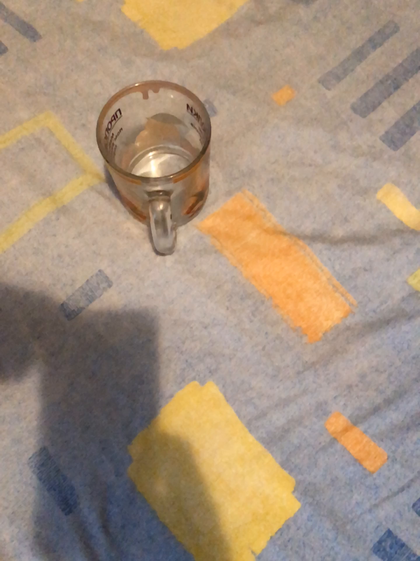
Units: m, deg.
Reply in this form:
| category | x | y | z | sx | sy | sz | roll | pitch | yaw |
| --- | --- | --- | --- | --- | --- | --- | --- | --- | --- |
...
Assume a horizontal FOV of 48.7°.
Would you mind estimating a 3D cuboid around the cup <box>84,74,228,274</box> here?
| category | x | y | z | sx | sy | sz | roll | pitch | yaw |
| --- | --- | --- | --- | --- | --- | --- | --- | --- | --- |
| cup | -0.039 | -0.077 | 0.359 | 0.084 | 0.092 | 0.110 | -8 | 75 | -3 |
